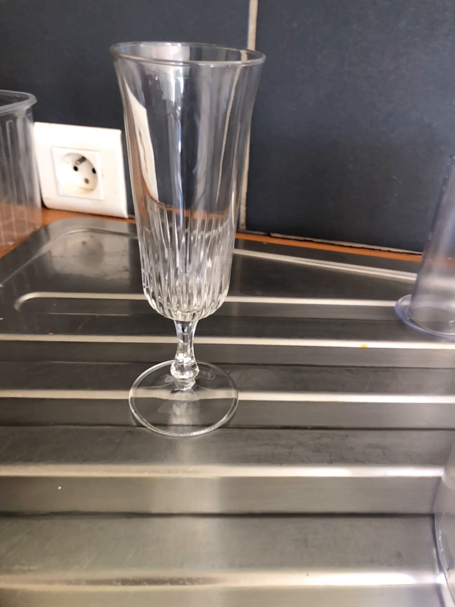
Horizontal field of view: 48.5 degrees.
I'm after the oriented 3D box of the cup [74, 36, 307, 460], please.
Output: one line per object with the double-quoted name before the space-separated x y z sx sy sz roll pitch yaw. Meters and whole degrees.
"cup" -0.016 -0.022 0.227 0.060 0.169 0.060 2 31 -1
